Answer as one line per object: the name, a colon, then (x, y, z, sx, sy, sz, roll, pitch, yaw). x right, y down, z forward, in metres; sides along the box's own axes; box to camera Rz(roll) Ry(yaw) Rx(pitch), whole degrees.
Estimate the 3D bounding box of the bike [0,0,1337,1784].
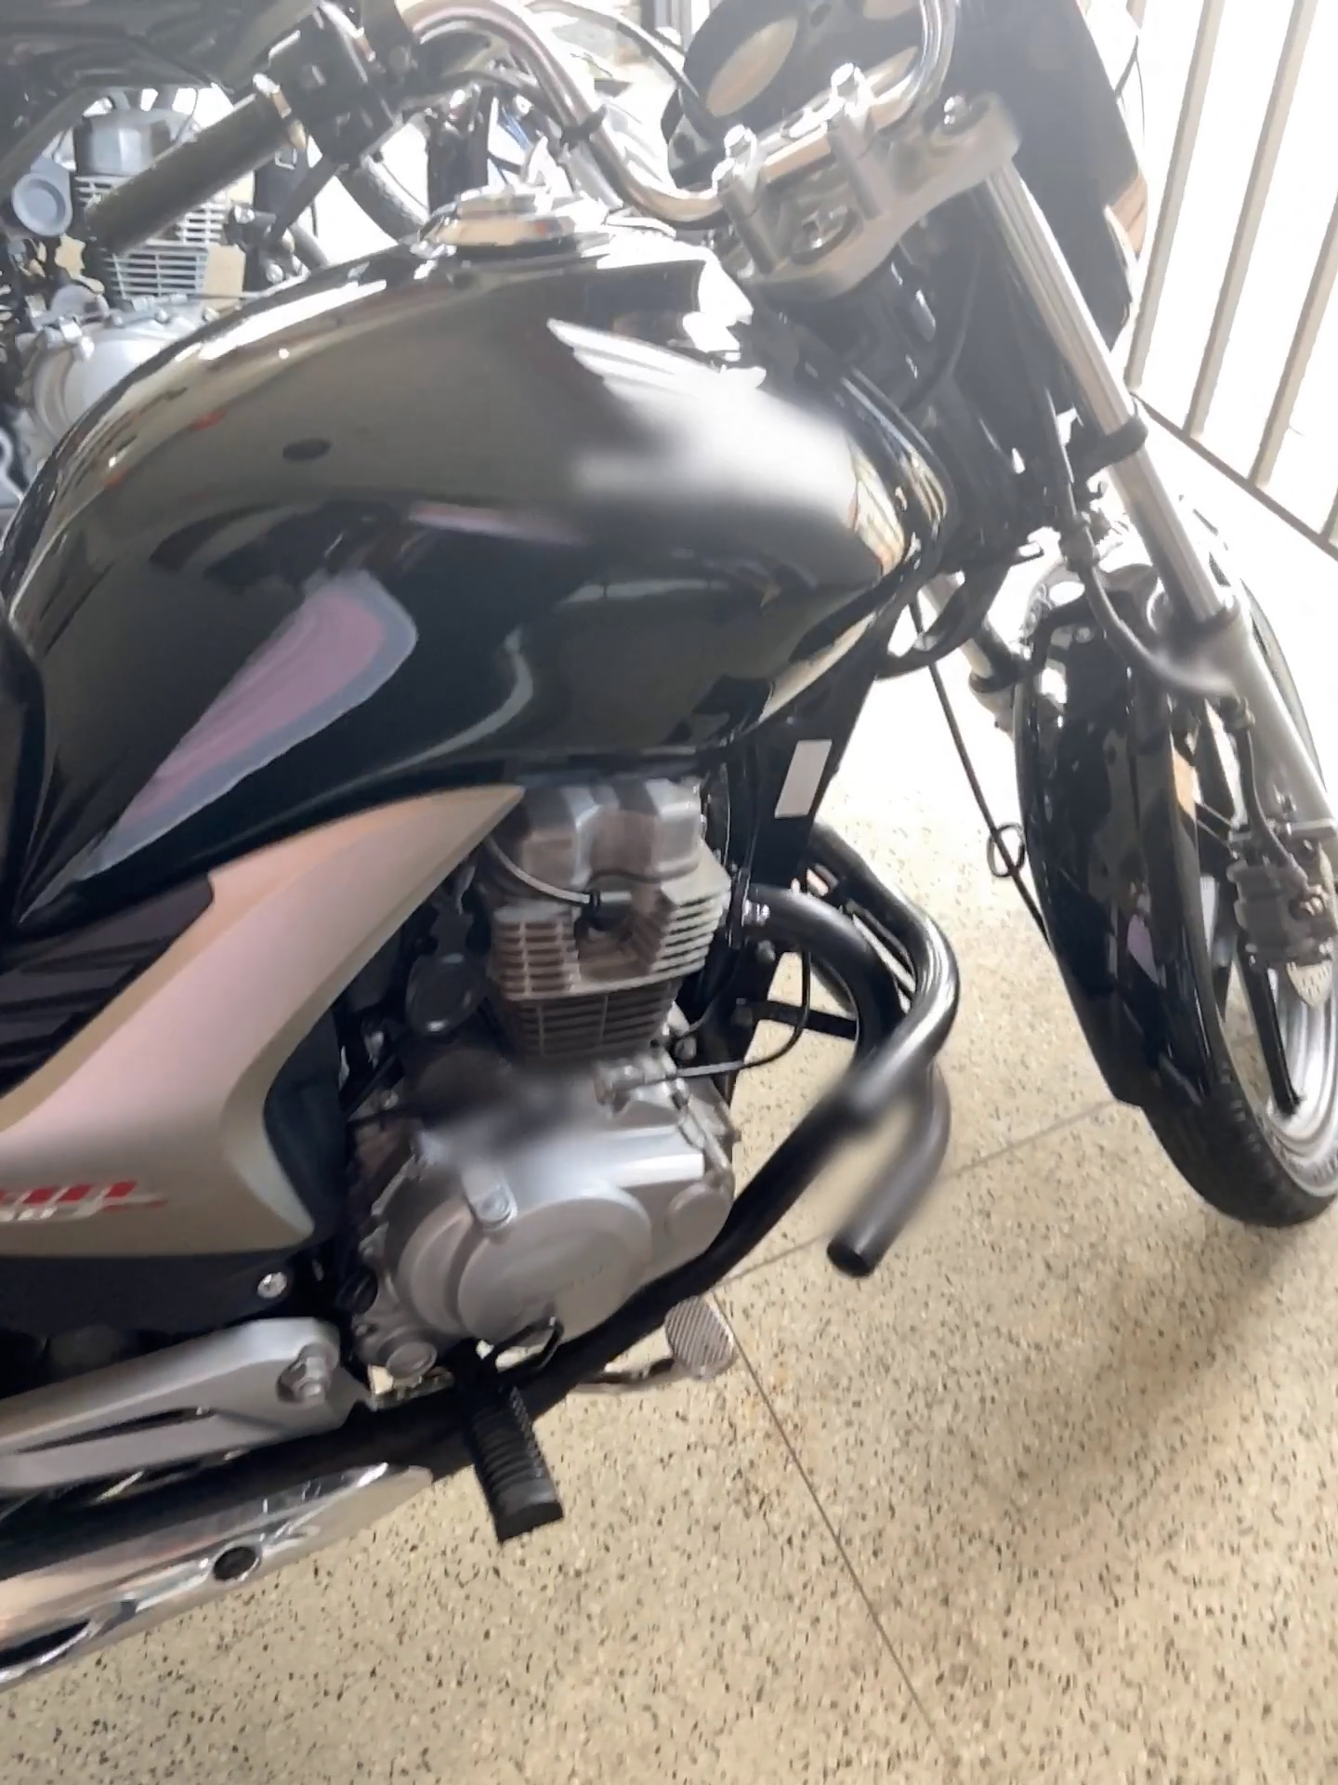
bike: (-0.236, -0.093, 0.919, 1.739, 1.137, 0.776, -25, 52, -19)
